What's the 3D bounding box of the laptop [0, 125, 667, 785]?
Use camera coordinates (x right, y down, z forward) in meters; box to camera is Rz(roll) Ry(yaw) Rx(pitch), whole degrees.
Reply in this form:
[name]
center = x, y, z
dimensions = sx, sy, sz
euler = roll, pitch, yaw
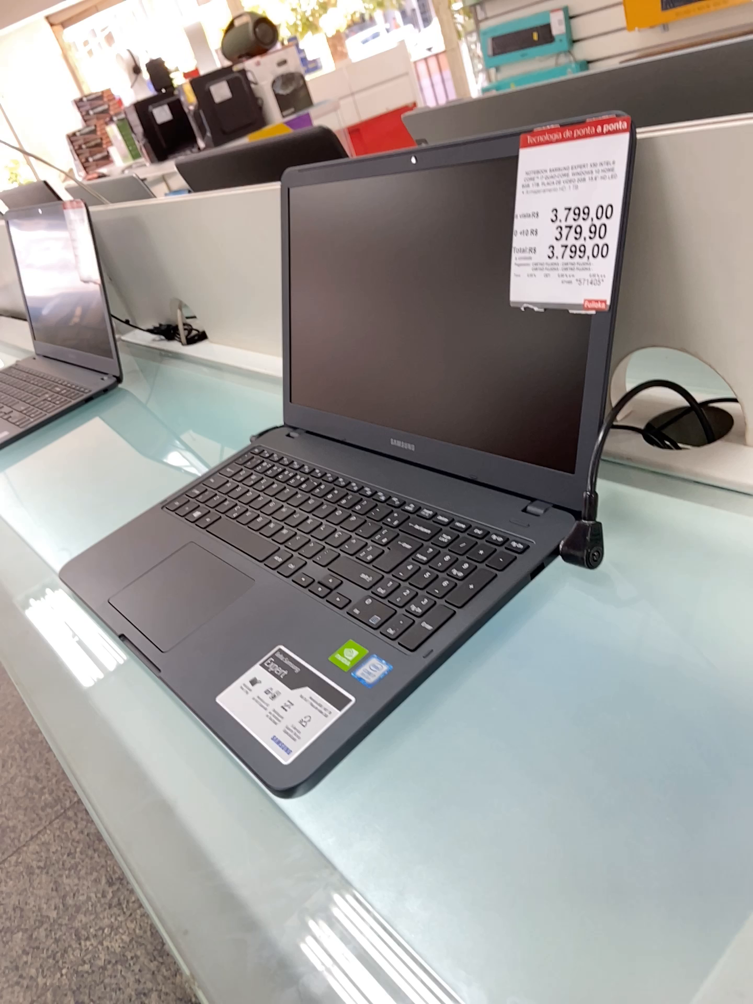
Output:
[laptop]
center = -0.067, -0.077, 0.547
dimensions = 0.342, 0.208, 0.364
euler = -37, 33, -25
